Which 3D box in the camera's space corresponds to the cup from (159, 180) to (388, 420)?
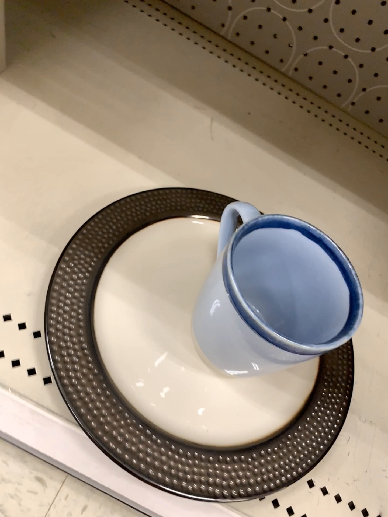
[{"bbox_3d":[0.048,0.027,0.287,0.094,0.094,0.128,-9,64,-25],"label":"cup"}]
